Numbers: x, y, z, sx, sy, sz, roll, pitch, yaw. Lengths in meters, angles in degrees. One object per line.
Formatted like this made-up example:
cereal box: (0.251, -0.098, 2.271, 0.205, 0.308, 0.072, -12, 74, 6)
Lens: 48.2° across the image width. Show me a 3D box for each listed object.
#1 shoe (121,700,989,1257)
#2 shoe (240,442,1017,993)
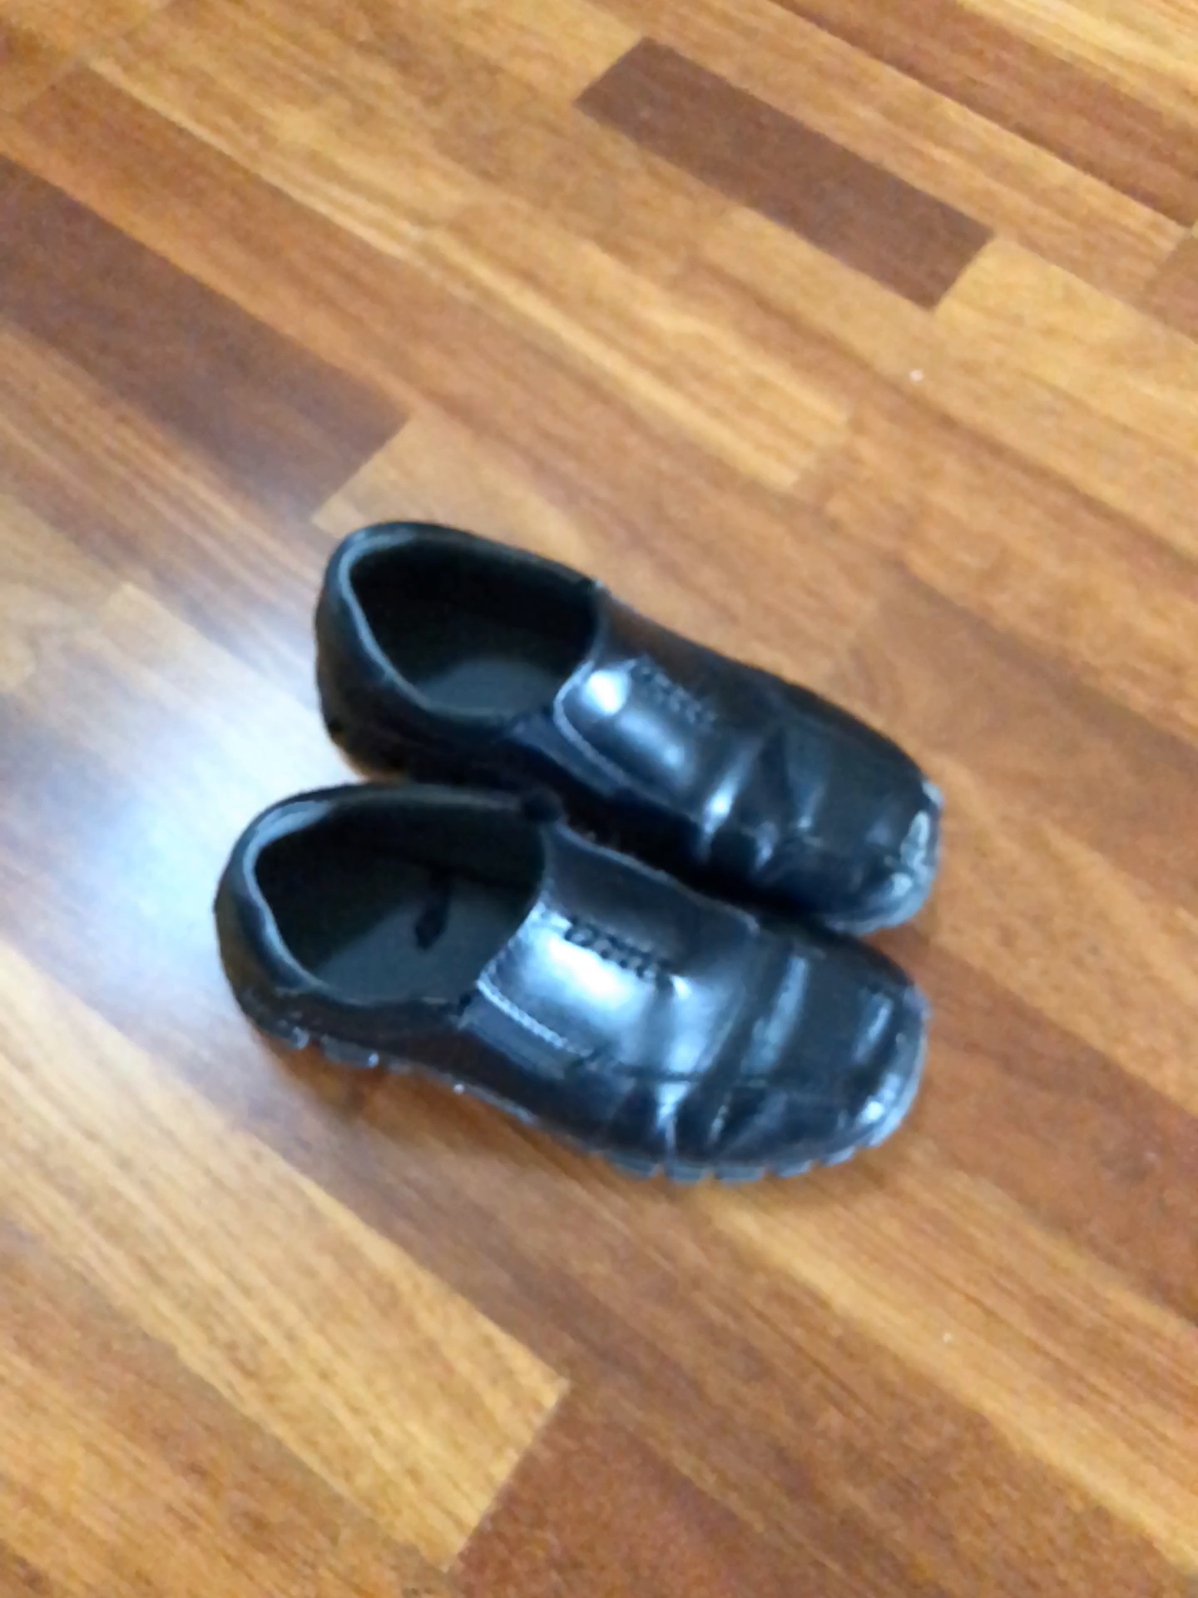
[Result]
shoe: (-0.011, 0.058, 0.418, 0.232, 0.075, 0.094, 16, 65, 2)
shoe: (0.009, -0.027, 0.462, 0.232, 0.075, 0.091, 21, 65, 5)
